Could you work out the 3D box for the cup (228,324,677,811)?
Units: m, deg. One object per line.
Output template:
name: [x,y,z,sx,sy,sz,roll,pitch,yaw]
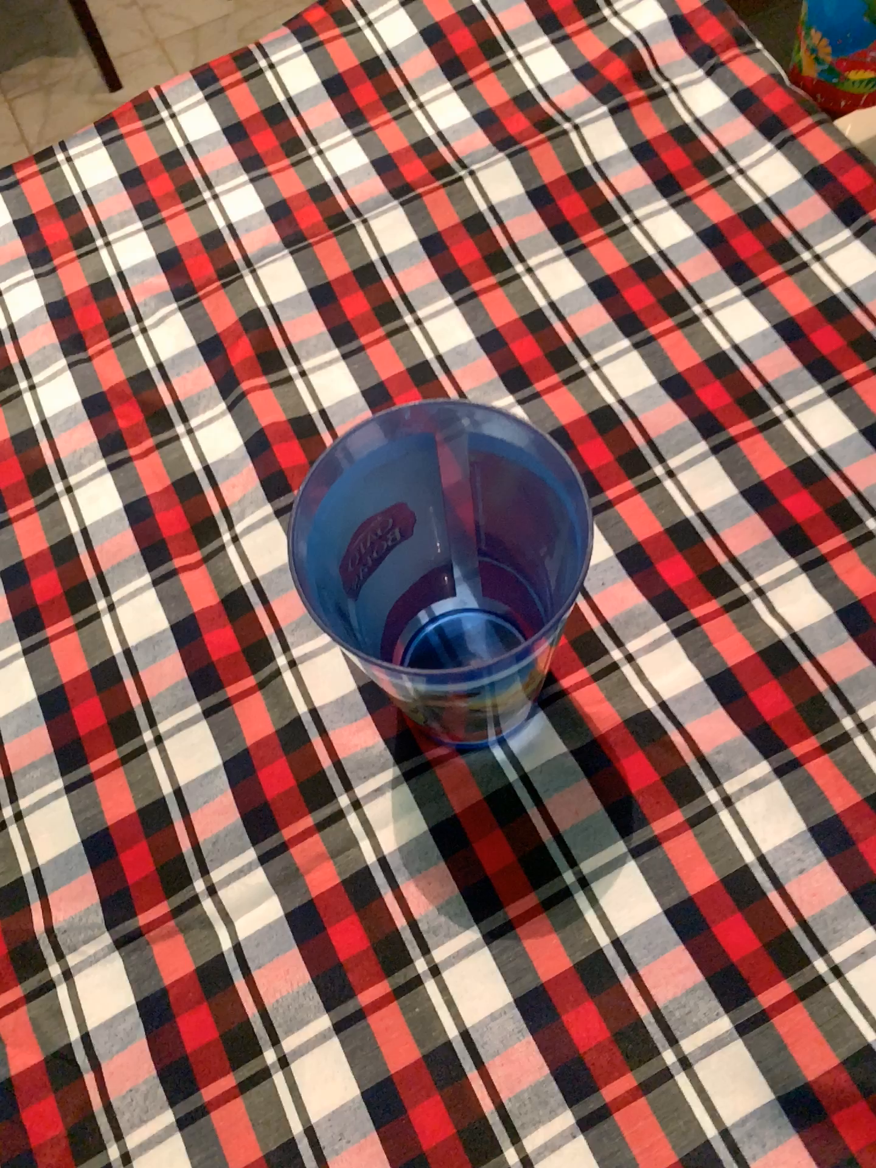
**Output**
cup: [0.008,0.003,0.315,0.090,0.130,0.090,-2,66,4]
